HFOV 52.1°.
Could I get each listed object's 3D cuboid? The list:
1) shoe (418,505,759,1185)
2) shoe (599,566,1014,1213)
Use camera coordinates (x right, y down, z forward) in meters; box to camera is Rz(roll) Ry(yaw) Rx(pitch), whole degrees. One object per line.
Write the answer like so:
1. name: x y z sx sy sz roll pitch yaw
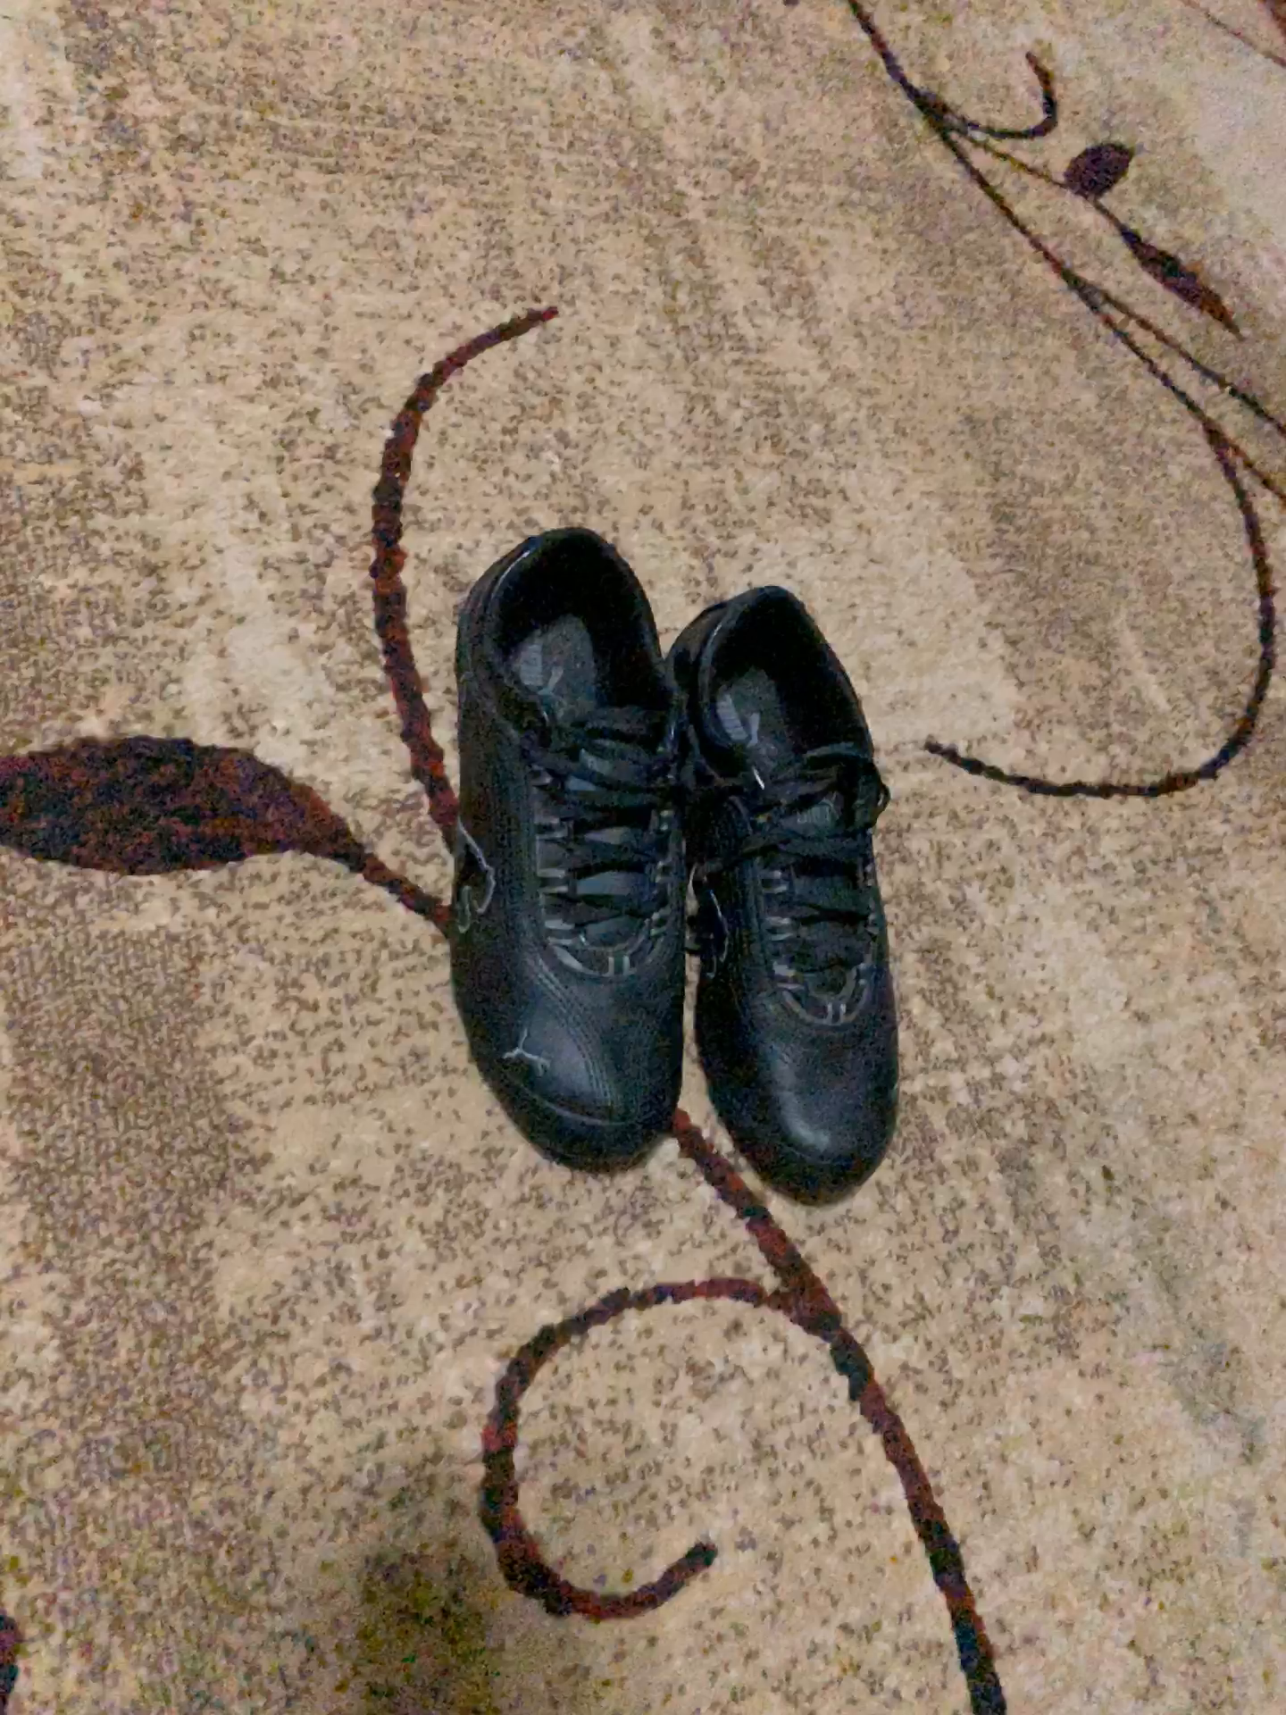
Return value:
1. shoe: -0.029 -0.007 0.506 0.086 0.073 0.244 2 66 -22
2. shoe: 0.058 0.008 0.534 0.088 0.073 0.244 -3 68 -24
